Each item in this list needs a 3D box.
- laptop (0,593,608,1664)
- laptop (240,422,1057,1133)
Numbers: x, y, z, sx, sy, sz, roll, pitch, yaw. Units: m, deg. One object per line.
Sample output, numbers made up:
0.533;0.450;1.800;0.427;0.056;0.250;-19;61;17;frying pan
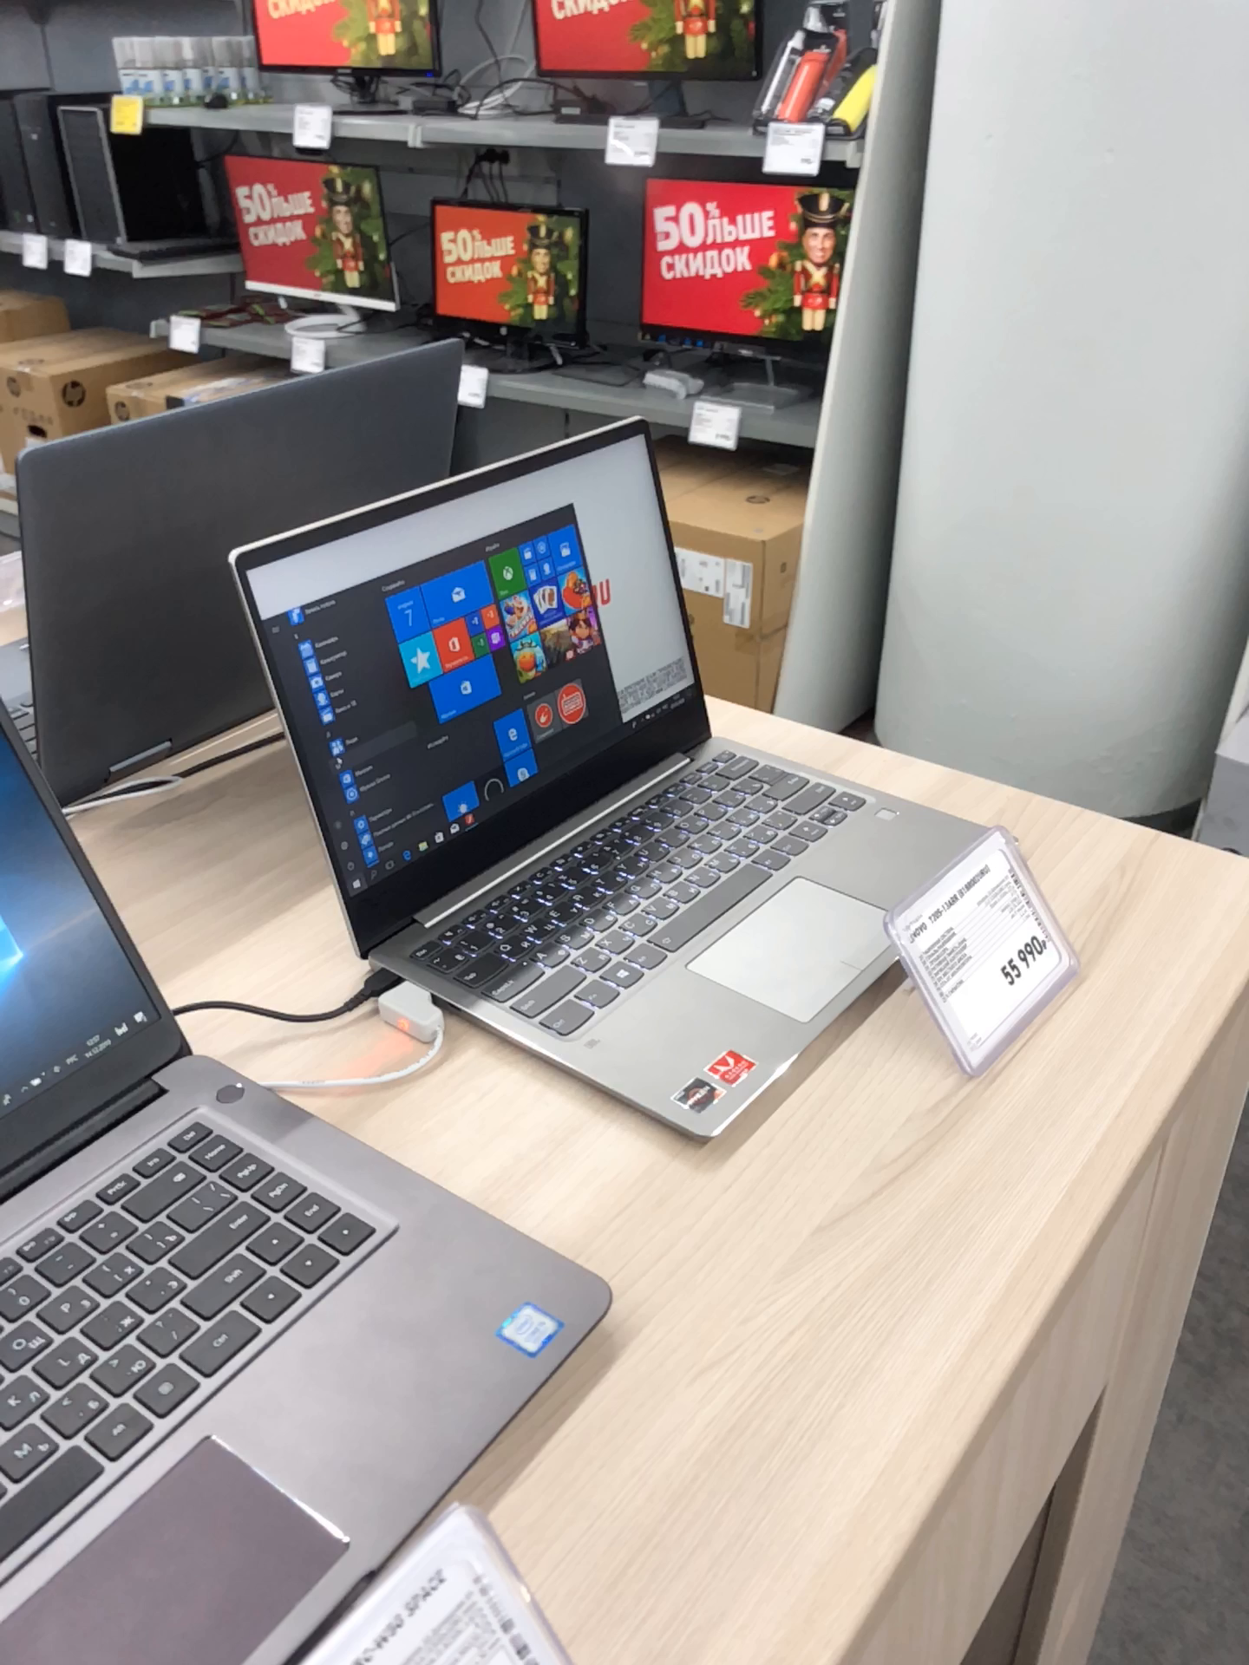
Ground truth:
-0.244;0.107;0.400;0.340;0.188;0.345;20;36;30;laptop
0.021;-0.058;0.681;0.262;0.187;0.286;22;37;32;laptop
